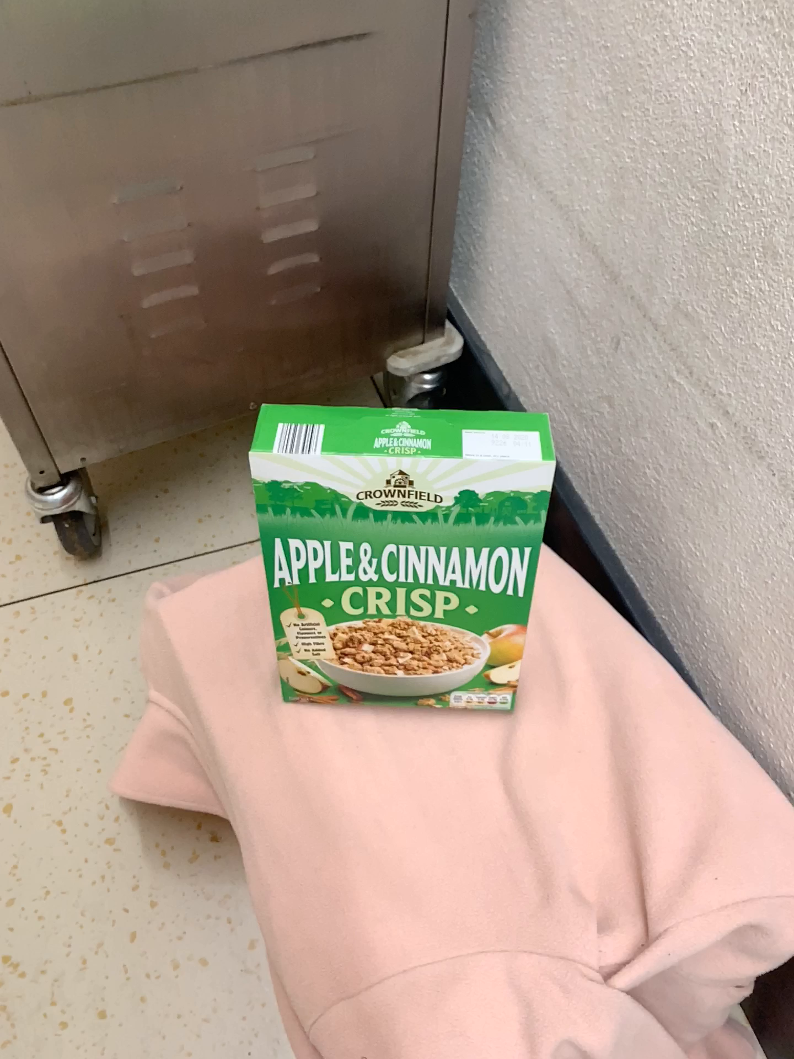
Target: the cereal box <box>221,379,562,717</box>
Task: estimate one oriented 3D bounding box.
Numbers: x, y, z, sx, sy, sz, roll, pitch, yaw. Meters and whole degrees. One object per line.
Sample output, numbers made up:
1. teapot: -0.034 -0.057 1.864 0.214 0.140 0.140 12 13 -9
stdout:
1. cereal box: -0.004 0.026 0.565 0.190 0.258 0.060 3 44 2
